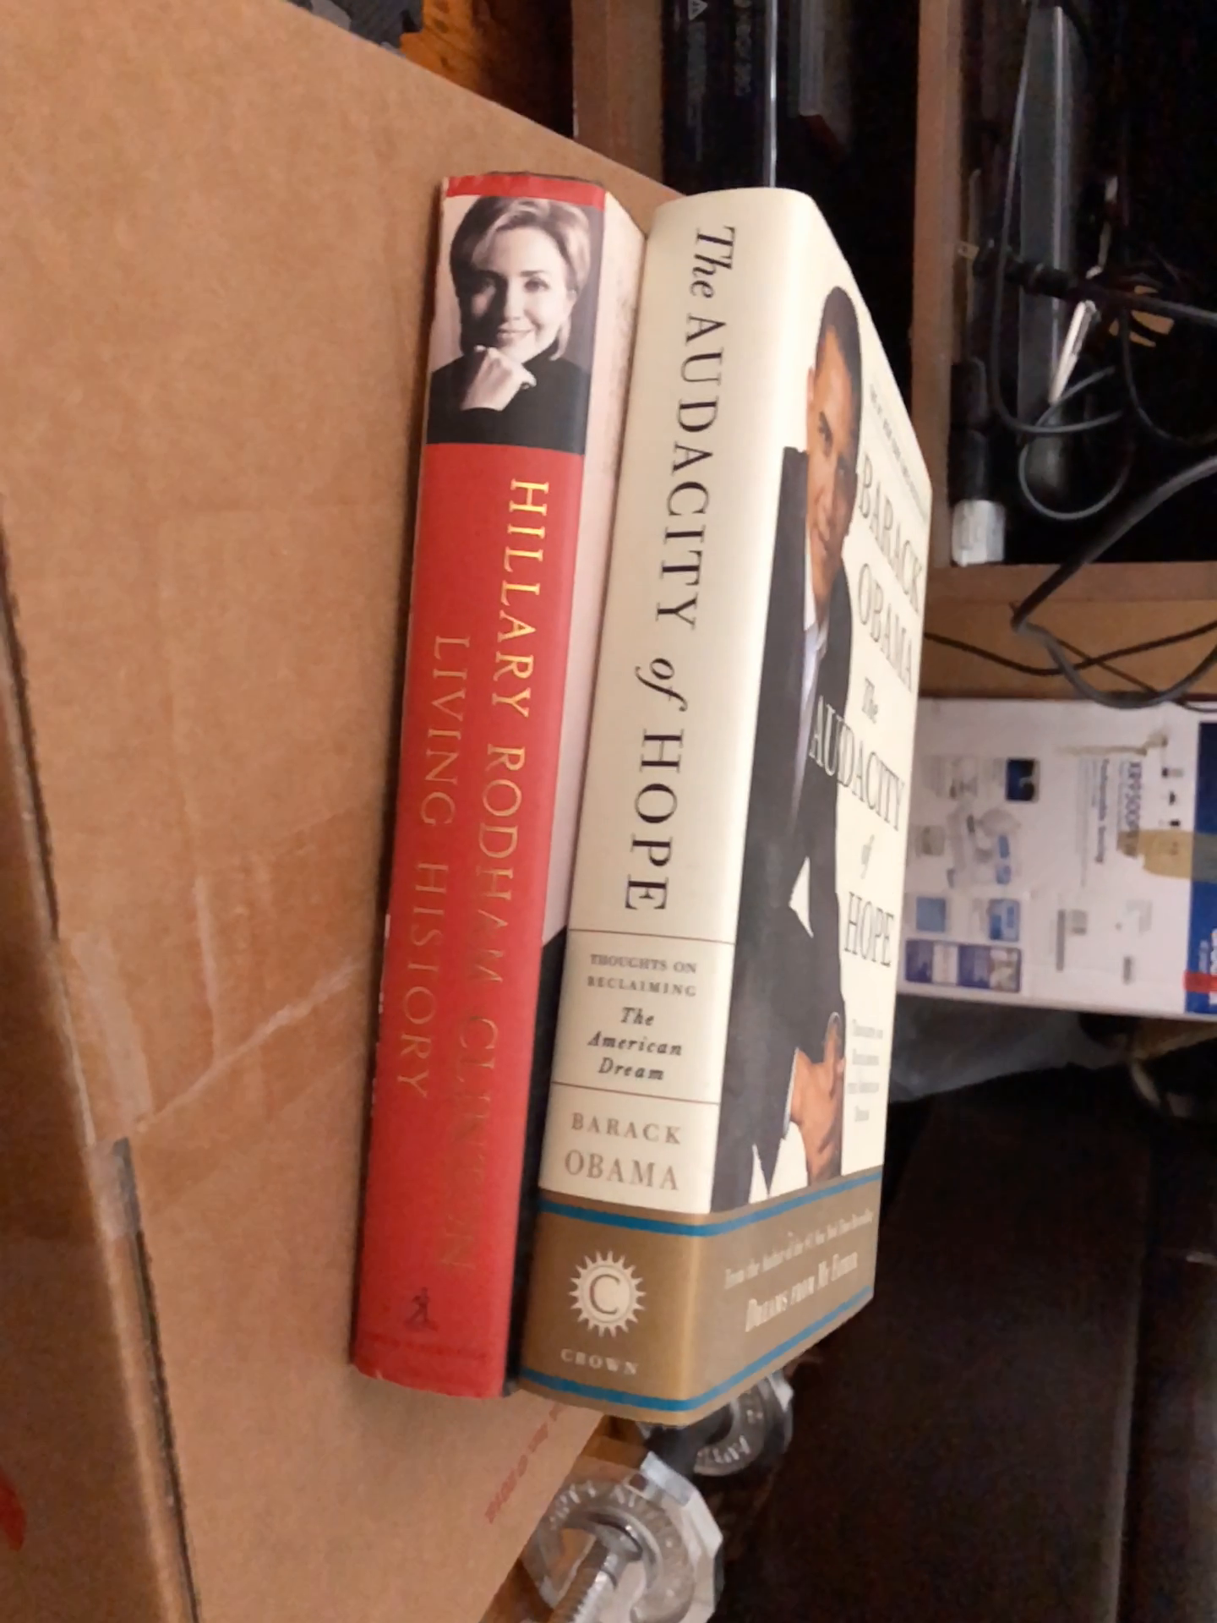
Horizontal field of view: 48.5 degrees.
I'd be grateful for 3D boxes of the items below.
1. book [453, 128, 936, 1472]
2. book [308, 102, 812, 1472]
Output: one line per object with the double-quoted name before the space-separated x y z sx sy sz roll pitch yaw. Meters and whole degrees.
"book" 0.039 0.005 0.341 0.191 0.040 0.250 26 68 -66
"book" 0.003 -0.003 0.331 0.171 0.040 0.250 11 83 -67
